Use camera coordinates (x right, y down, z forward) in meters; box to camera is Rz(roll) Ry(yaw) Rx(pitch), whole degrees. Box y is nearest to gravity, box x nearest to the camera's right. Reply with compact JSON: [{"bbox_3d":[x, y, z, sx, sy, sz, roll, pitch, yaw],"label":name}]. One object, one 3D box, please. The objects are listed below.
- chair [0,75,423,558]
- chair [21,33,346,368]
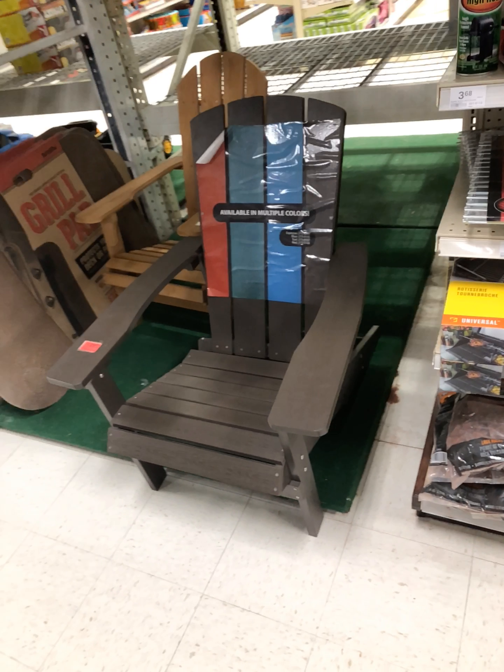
[{"bbox_3d":[0.012,-0.119,1.528,0.718,0.816,0.918,8,42,26],"label":"chair"},{"bbox_3d":[-0.151,-0.570,2.180,0.638,0.846,0.978,12,44,30],"label":"chair"}]
